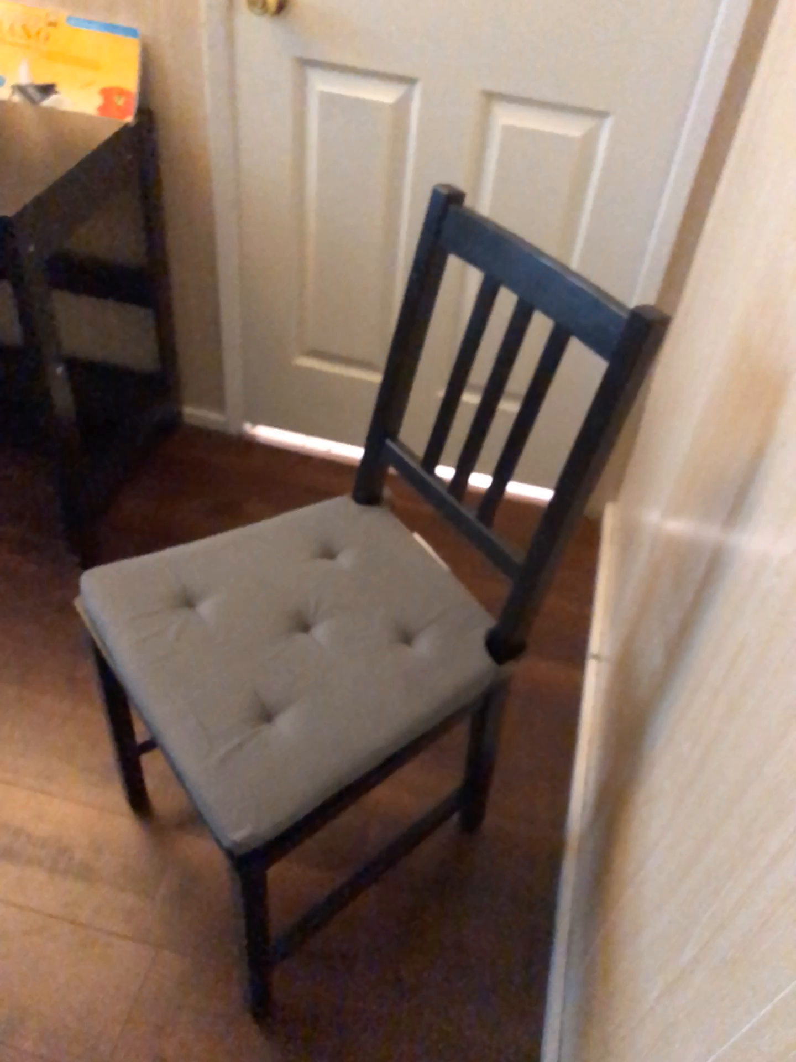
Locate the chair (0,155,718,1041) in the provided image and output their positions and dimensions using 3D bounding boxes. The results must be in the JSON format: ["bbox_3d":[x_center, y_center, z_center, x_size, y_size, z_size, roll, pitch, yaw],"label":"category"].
[{"bbox_3d":[-0.099,0.100,1.035,0.511,0.834,0.442,-24,52,-29],"label":"chair"}]
